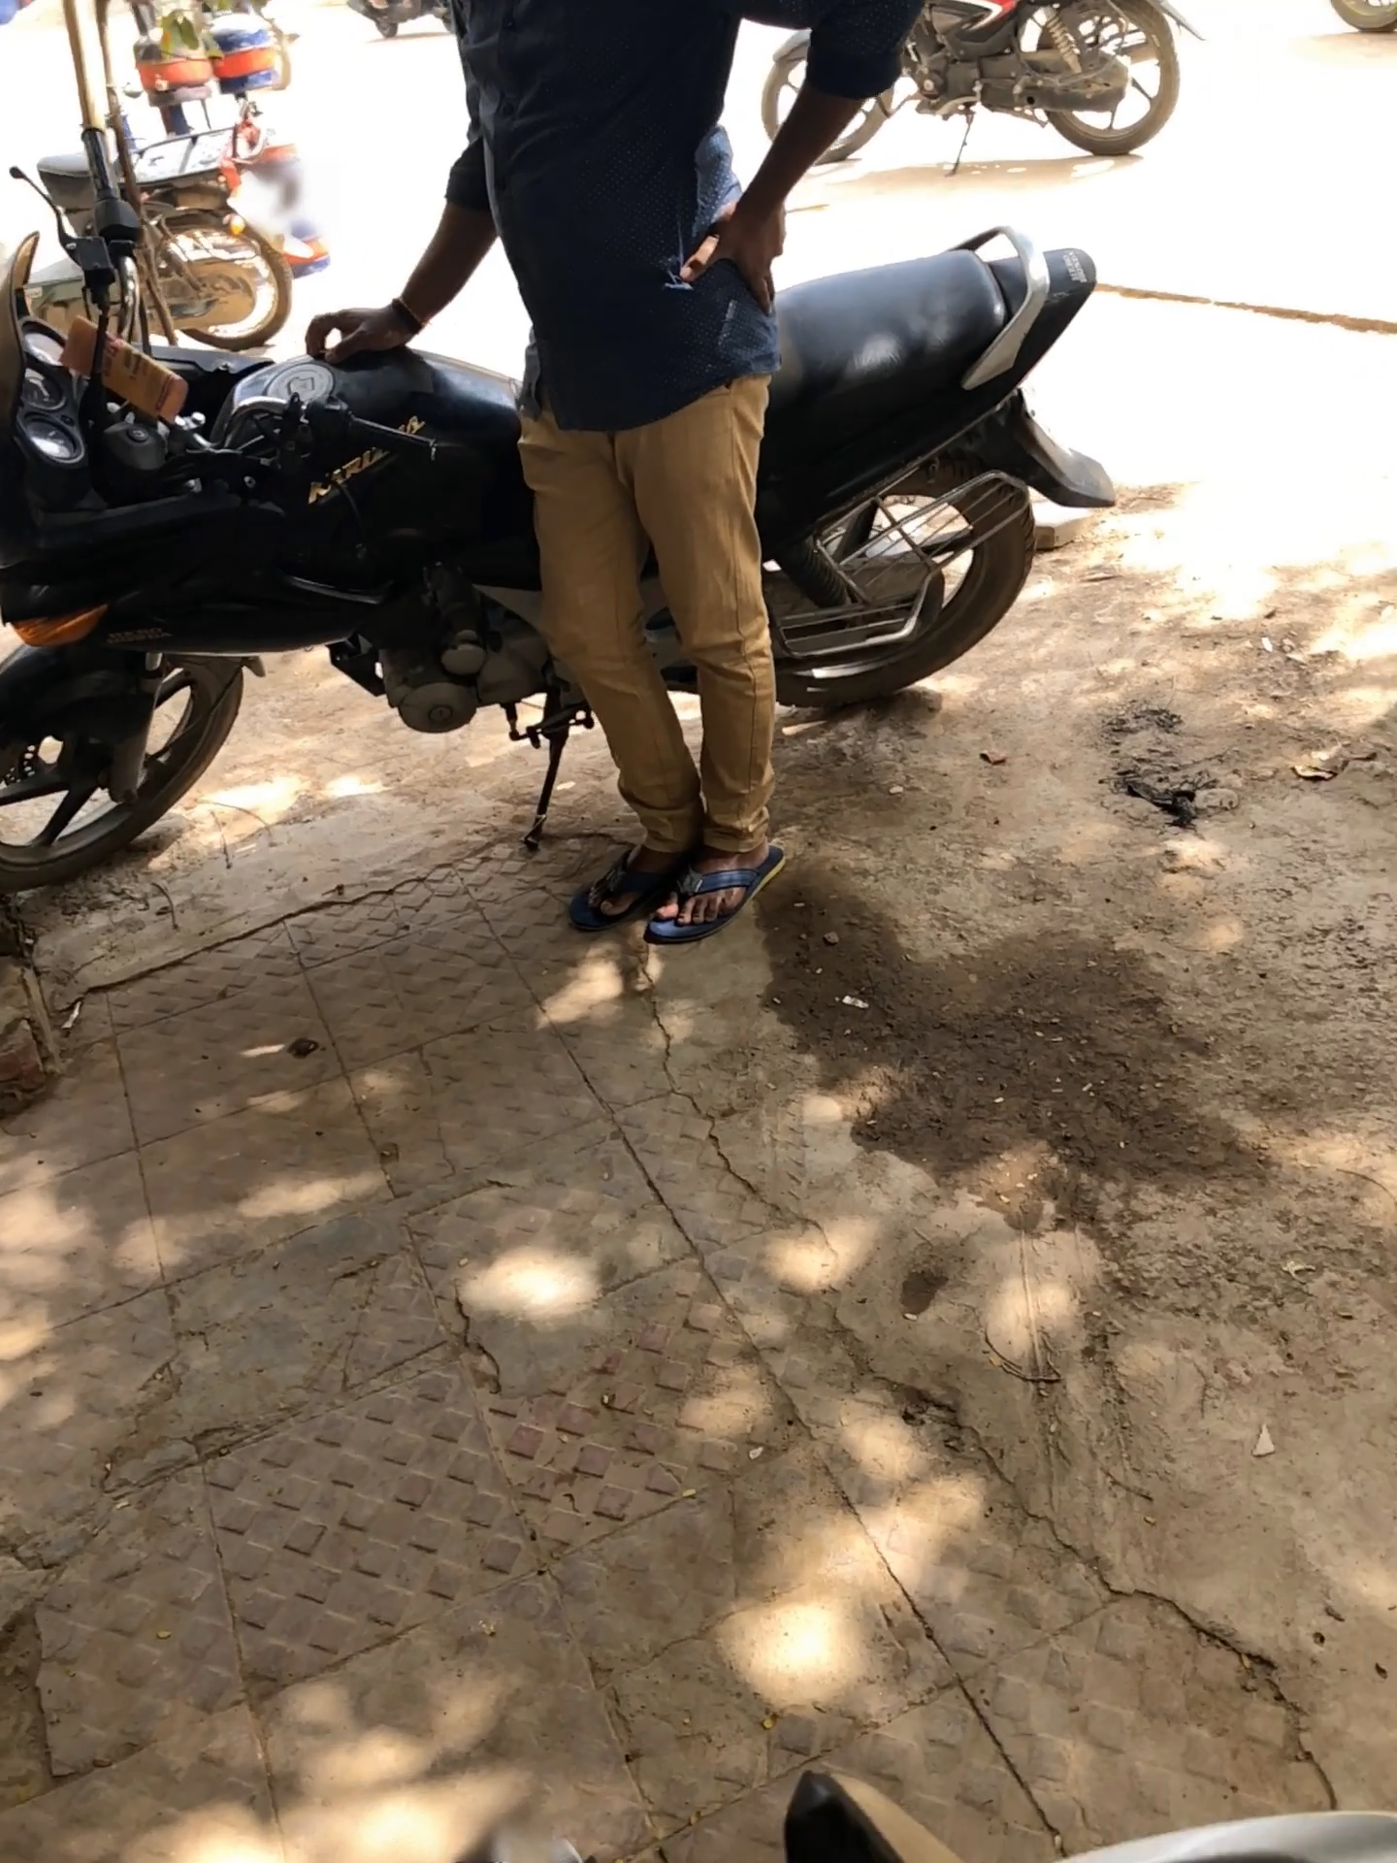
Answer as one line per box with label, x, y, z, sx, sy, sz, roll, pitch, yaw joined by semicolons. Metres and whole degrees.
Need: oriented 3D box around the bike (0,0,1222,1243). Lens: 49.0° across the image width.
bike;-0.316;-0.531;2.148;1.893;1.177;0.801;-15;36;-10
